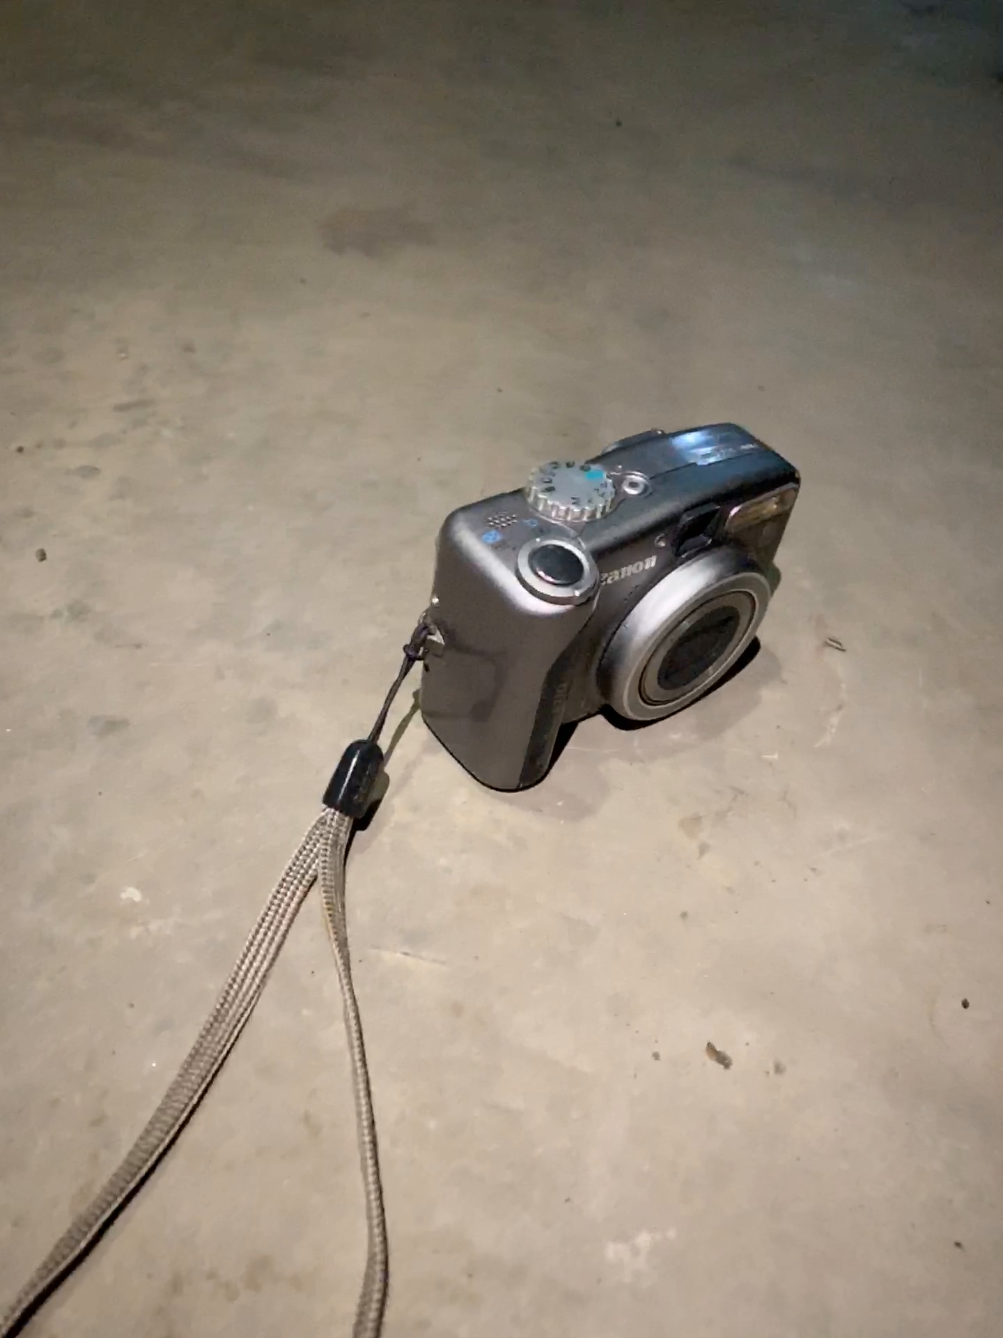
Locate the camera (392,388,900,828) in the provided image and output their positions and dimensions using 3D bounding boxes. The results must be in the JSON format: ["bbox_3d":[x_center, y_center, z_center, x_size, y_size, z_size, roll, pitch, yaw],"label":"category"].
[{"bbox_3d":[0.034,-0.019,0.252,0.109,0.059,0.048,-24,53,-31],"label":"camera"}]
